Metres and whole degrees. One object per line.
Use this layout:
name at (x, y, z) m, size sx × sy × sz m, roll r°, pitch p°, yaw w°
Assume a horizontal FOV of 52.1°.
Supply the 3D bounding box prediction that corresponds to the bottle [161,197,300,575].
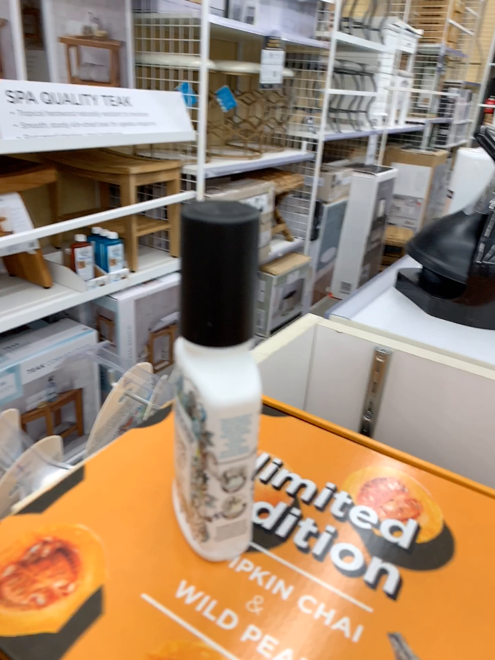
bottle at (-0.014, 0.026, 0.217) m, size 0.033 × 0.151 × 0.055 m, roll -7°, pitch 28°, yaw -22°
